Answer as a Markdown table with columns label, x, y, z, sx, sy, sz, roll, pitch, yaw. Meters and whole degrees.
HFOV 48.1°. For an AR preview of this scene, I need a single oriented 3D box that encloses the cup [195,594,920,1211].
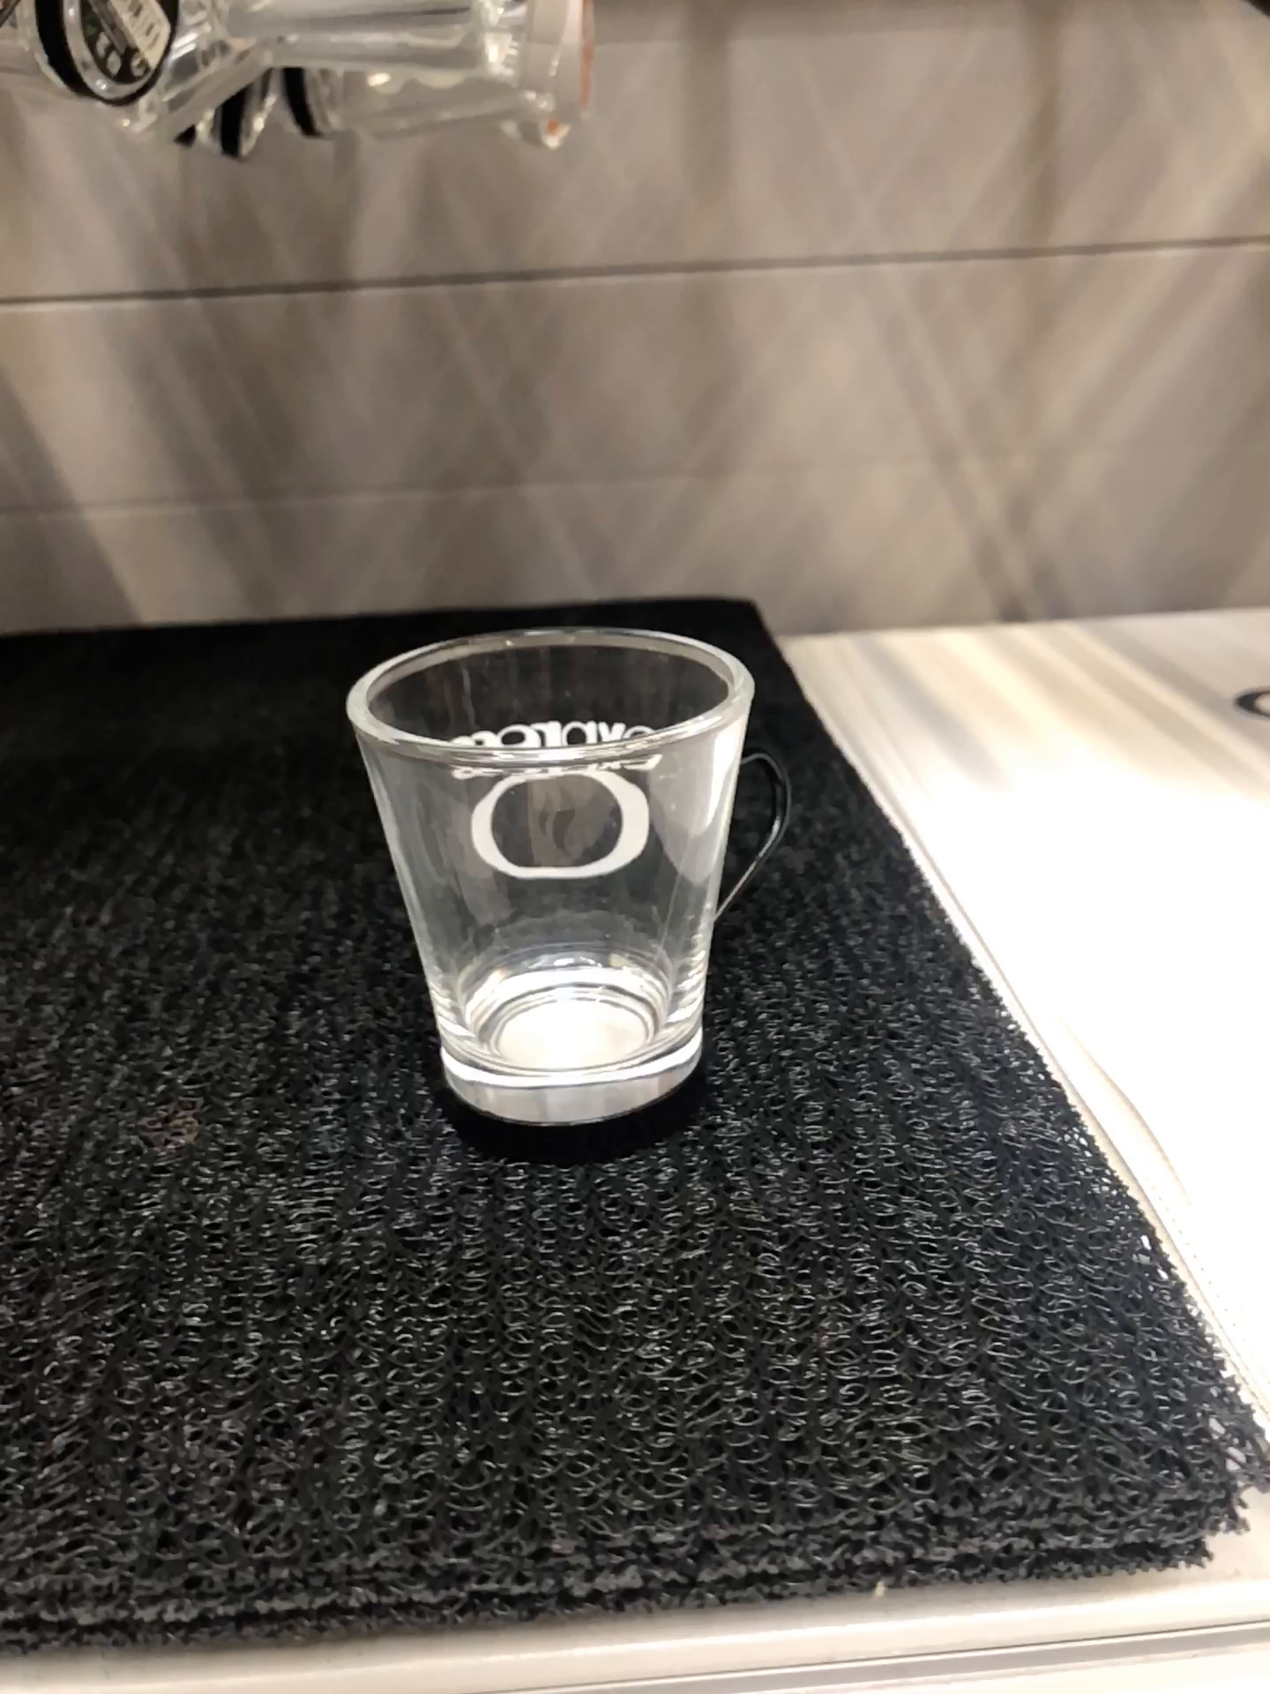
| label | x | y | z | sx | sy | sz | roll | pitch | yaw |
| --- | --- | --- | --- | --- | --- | --- | --- | --- | --- |
| cup | -0.007 | 0.000 | 0.229 | 0.073 | 0.059 | 0.087 | 11 | 26 | 35 |
